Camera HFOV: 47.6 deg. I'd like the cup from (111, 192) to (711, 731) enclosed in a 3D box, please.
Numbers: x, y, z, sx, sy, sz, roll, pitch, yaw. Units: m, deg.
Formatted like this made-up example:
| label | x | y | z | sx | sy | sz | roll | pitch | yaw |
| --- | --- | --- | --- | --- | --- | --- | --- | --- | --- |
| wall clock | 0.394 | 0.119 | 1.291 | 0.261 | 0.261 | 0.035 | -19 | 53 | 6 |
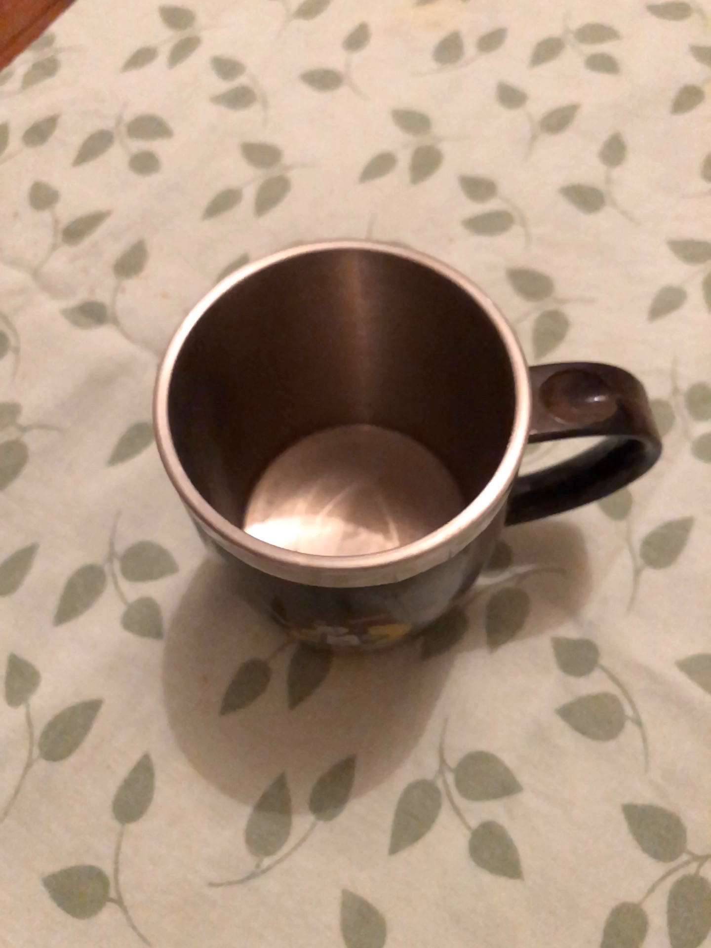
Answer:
| label | x | y | z | sx | sy | sz | roll | pitch | yaw |
| --- | --- | --- | --- | --- | --- | --- | --- | --- | --- |
| cup | 0.017 | 0.007 | 0.232 | 0.130 | 0.120 | 0.090 | -12 | 67 | -4 |
